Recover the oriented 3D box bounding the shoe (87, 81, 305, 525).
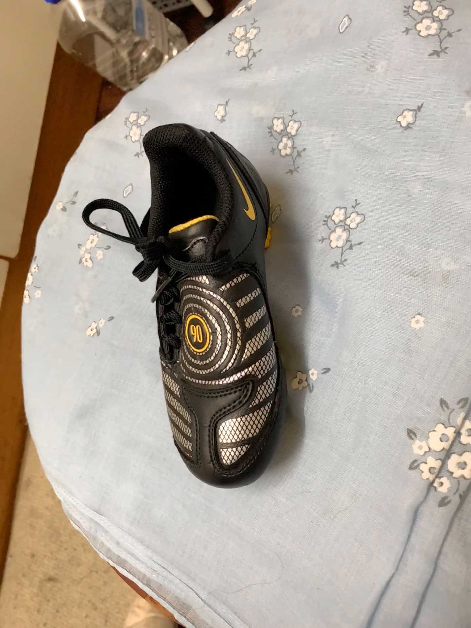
[{"bbox_3d":[-0.015,-0.004,0.254,0.080,0.070,0.190,-5,78,31],"label":"shoe"}]
